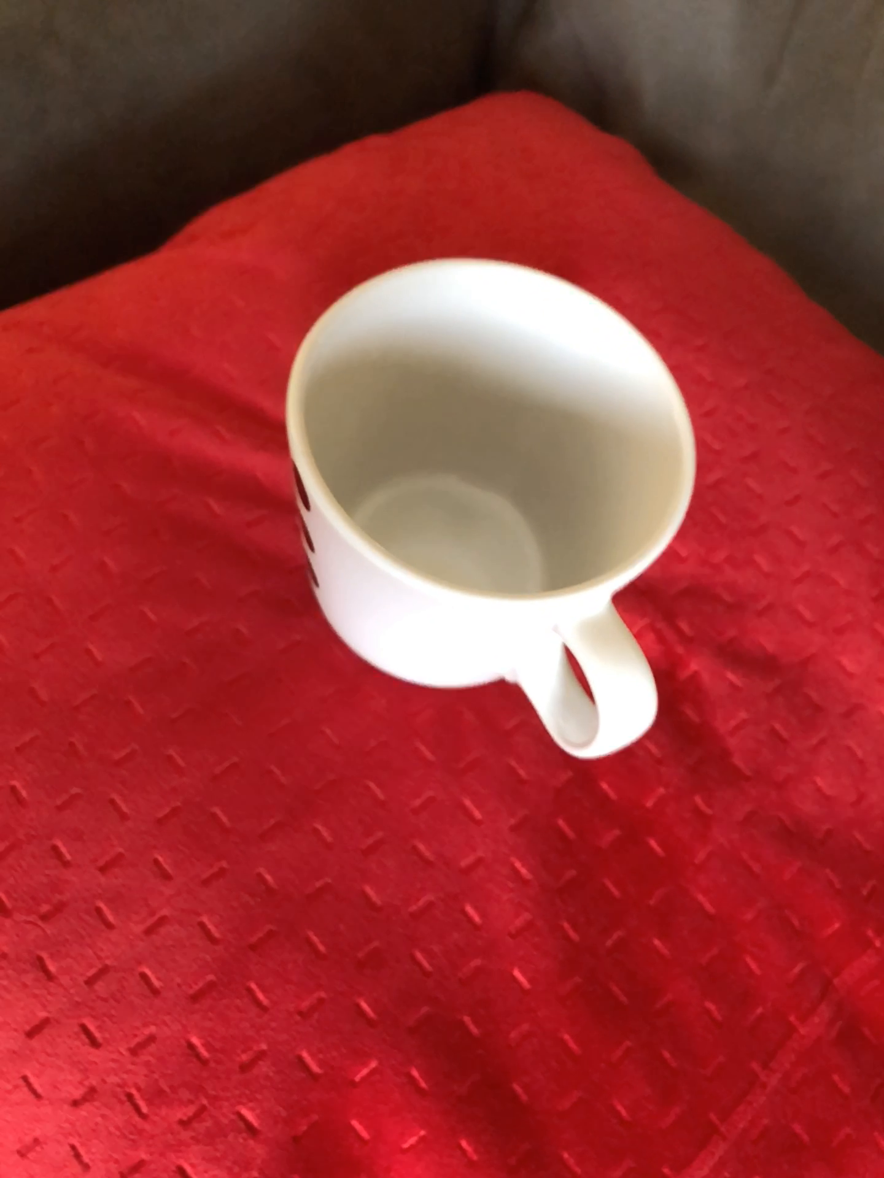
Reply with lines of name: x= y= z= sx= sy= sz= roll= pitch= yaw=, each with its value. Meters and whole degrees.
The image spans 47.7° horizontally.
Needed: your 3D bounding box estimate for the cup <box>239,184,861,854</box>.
cup: x=0.013 y=-0.015 z=0.231 sx=0.080 sy=0.080 sz=0.110 roll=-22 pitch=69 yaw=-20
